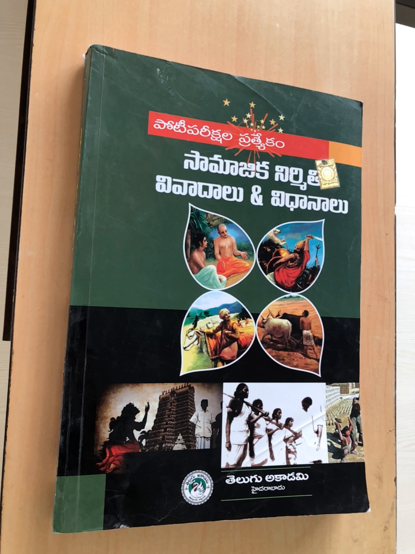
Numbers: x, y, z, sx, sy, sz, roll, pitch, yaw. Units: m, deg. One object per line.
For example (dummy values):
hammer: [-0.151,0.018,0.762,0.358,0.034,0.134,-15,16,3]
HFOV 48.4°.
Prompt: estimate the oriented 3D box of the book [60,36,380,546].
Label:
book: [0.014,0.008,0.296,0.190,0.050,0.270,4,84,-17]
